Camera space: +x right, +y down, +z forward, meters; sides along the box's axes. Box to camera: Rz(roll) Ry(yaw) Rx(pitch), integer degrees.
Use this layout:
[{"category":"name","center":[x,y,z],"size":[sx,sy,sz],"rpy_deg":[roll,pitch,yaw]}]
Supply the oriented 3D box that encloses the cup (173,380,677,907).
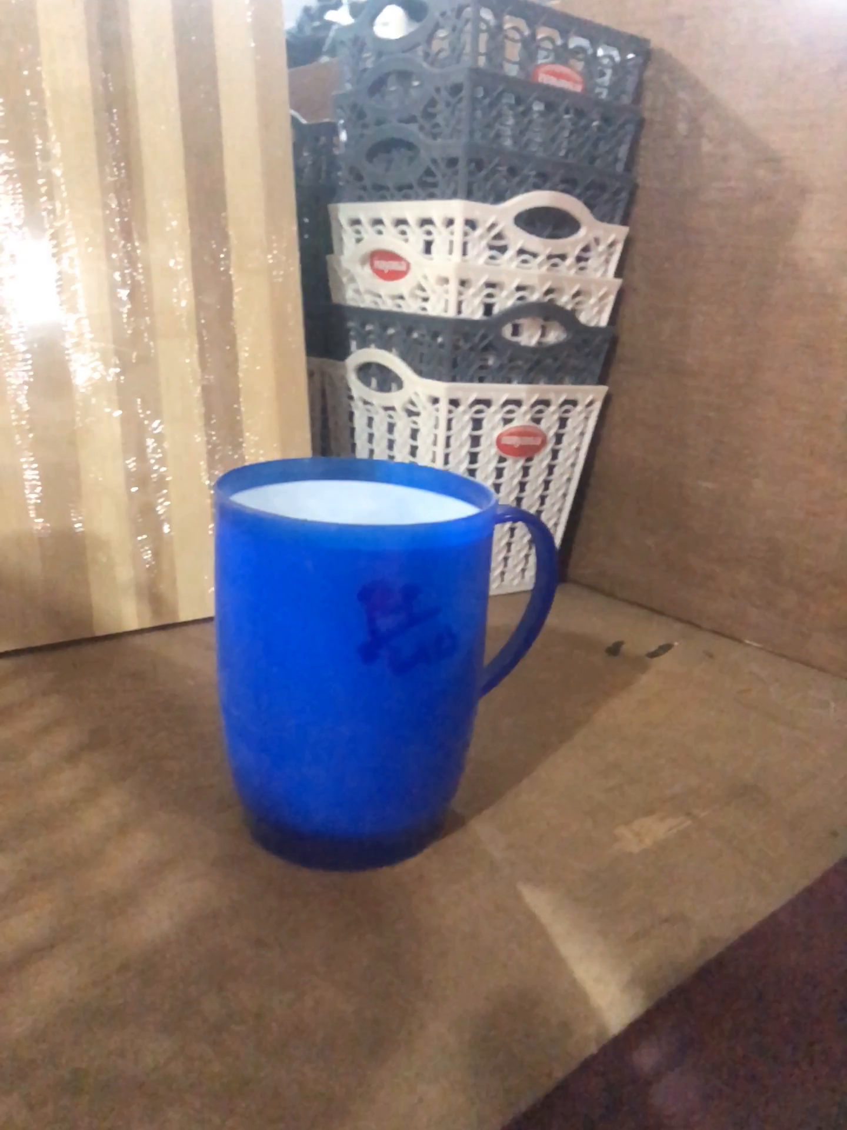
[{"category":"cup","center":[-0.003,0.010,0.259],"size":[0.110,0.110,0.070],"rpy_deg":[-8,22,-32]}]
